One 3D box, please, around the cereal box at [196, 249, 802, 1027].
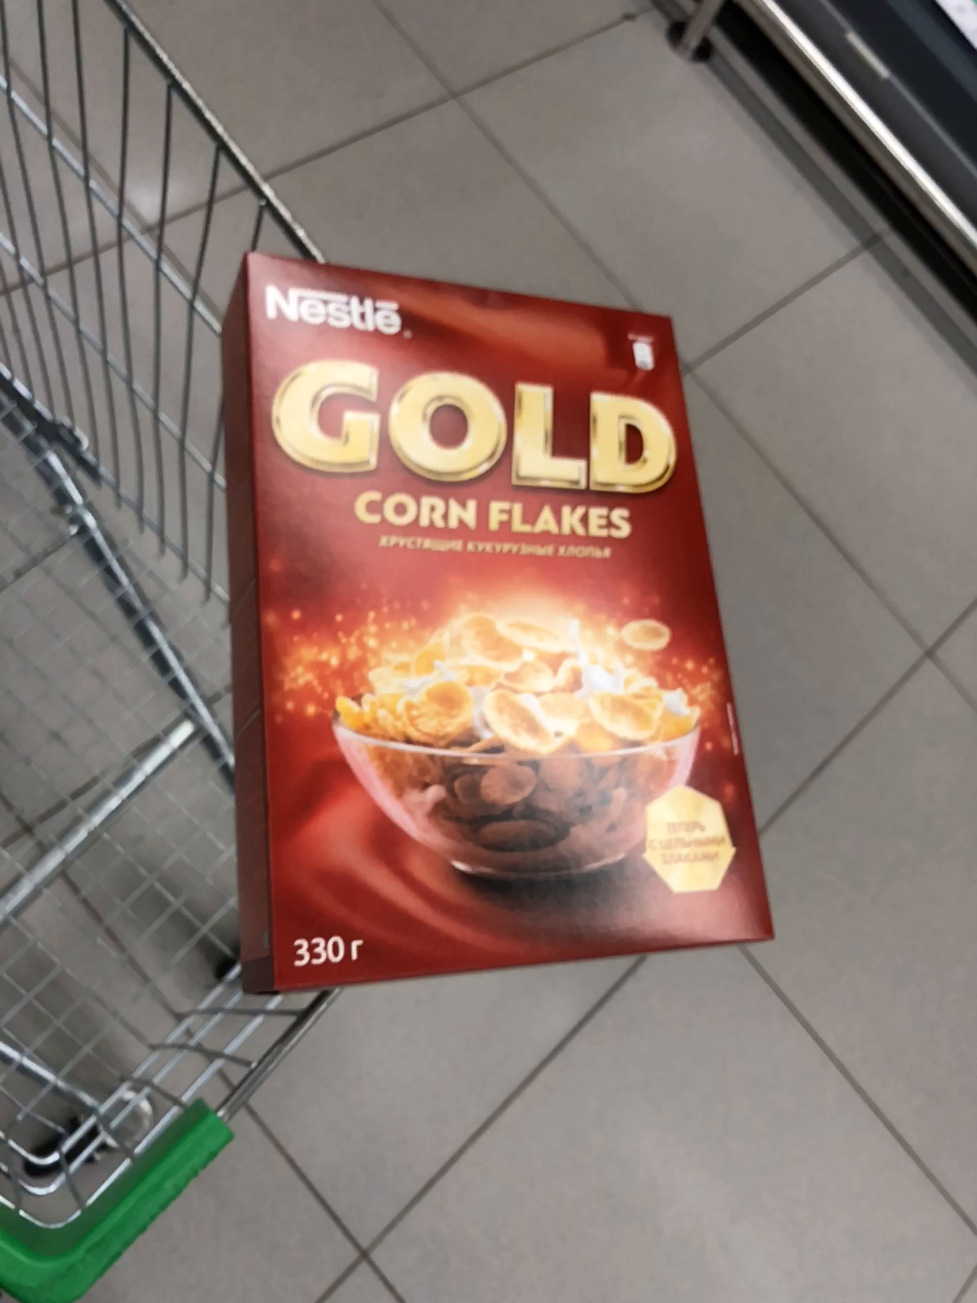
[{"bbox_3d":[-0.004,-0.009,0.438,0.210,0.060,0.280,1,72,-21],"label":"cereal box"}]
